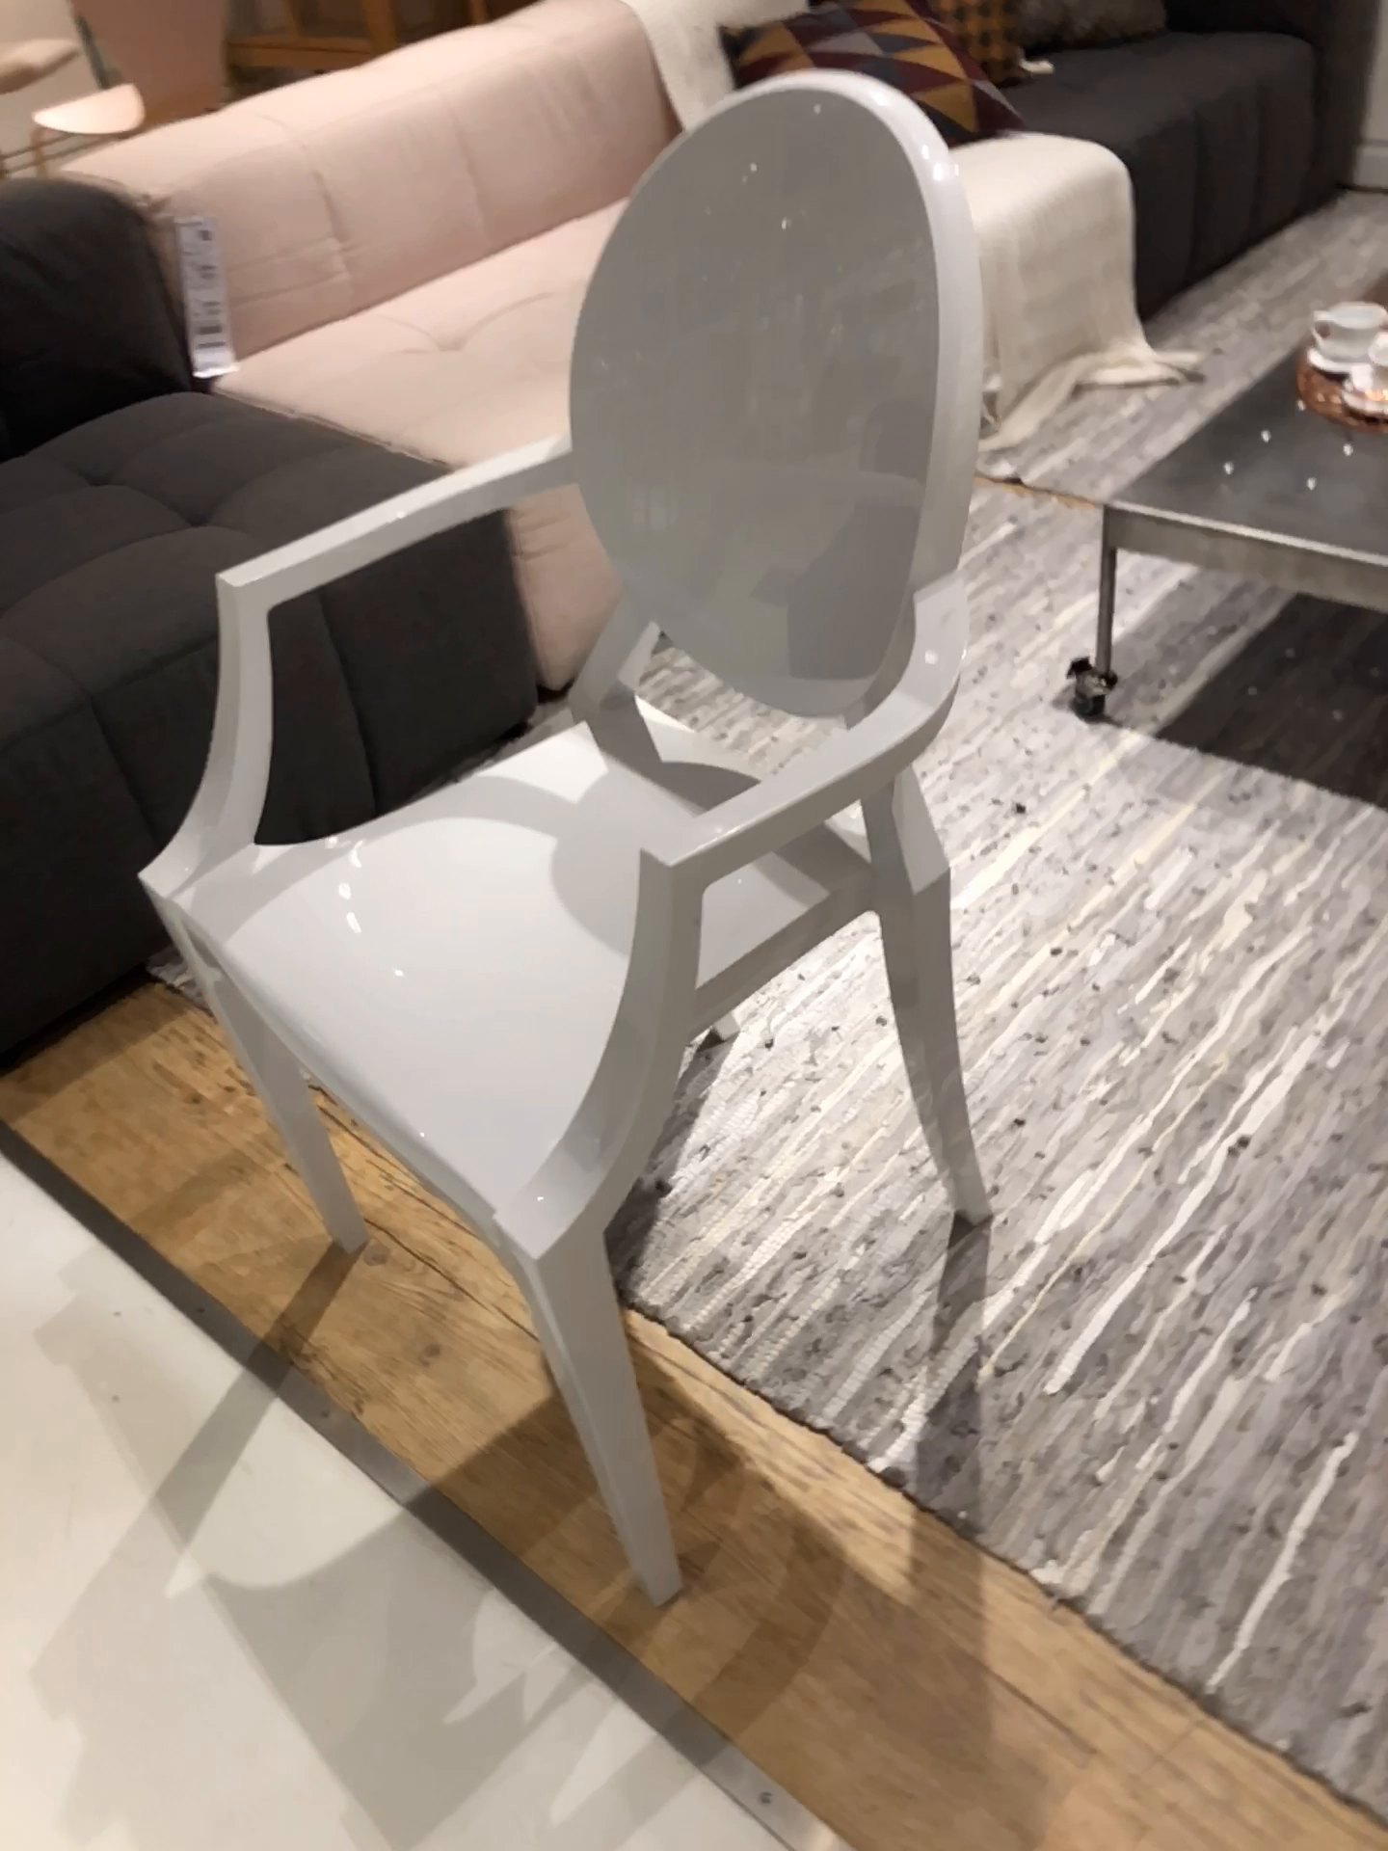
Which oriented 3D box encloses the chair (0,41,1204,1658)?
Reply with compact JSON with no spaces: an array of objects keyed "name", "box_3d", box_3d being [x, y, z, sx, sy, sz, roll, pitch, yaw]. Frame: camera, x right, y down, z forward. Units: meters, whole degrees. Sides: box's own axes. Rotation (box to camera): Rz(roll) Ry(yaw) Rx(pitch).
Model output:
[{"name":"chair","box_3d":[-0.064,-0.063,1.072,0.551,0.844,0.513,-34,45,-27]}]
